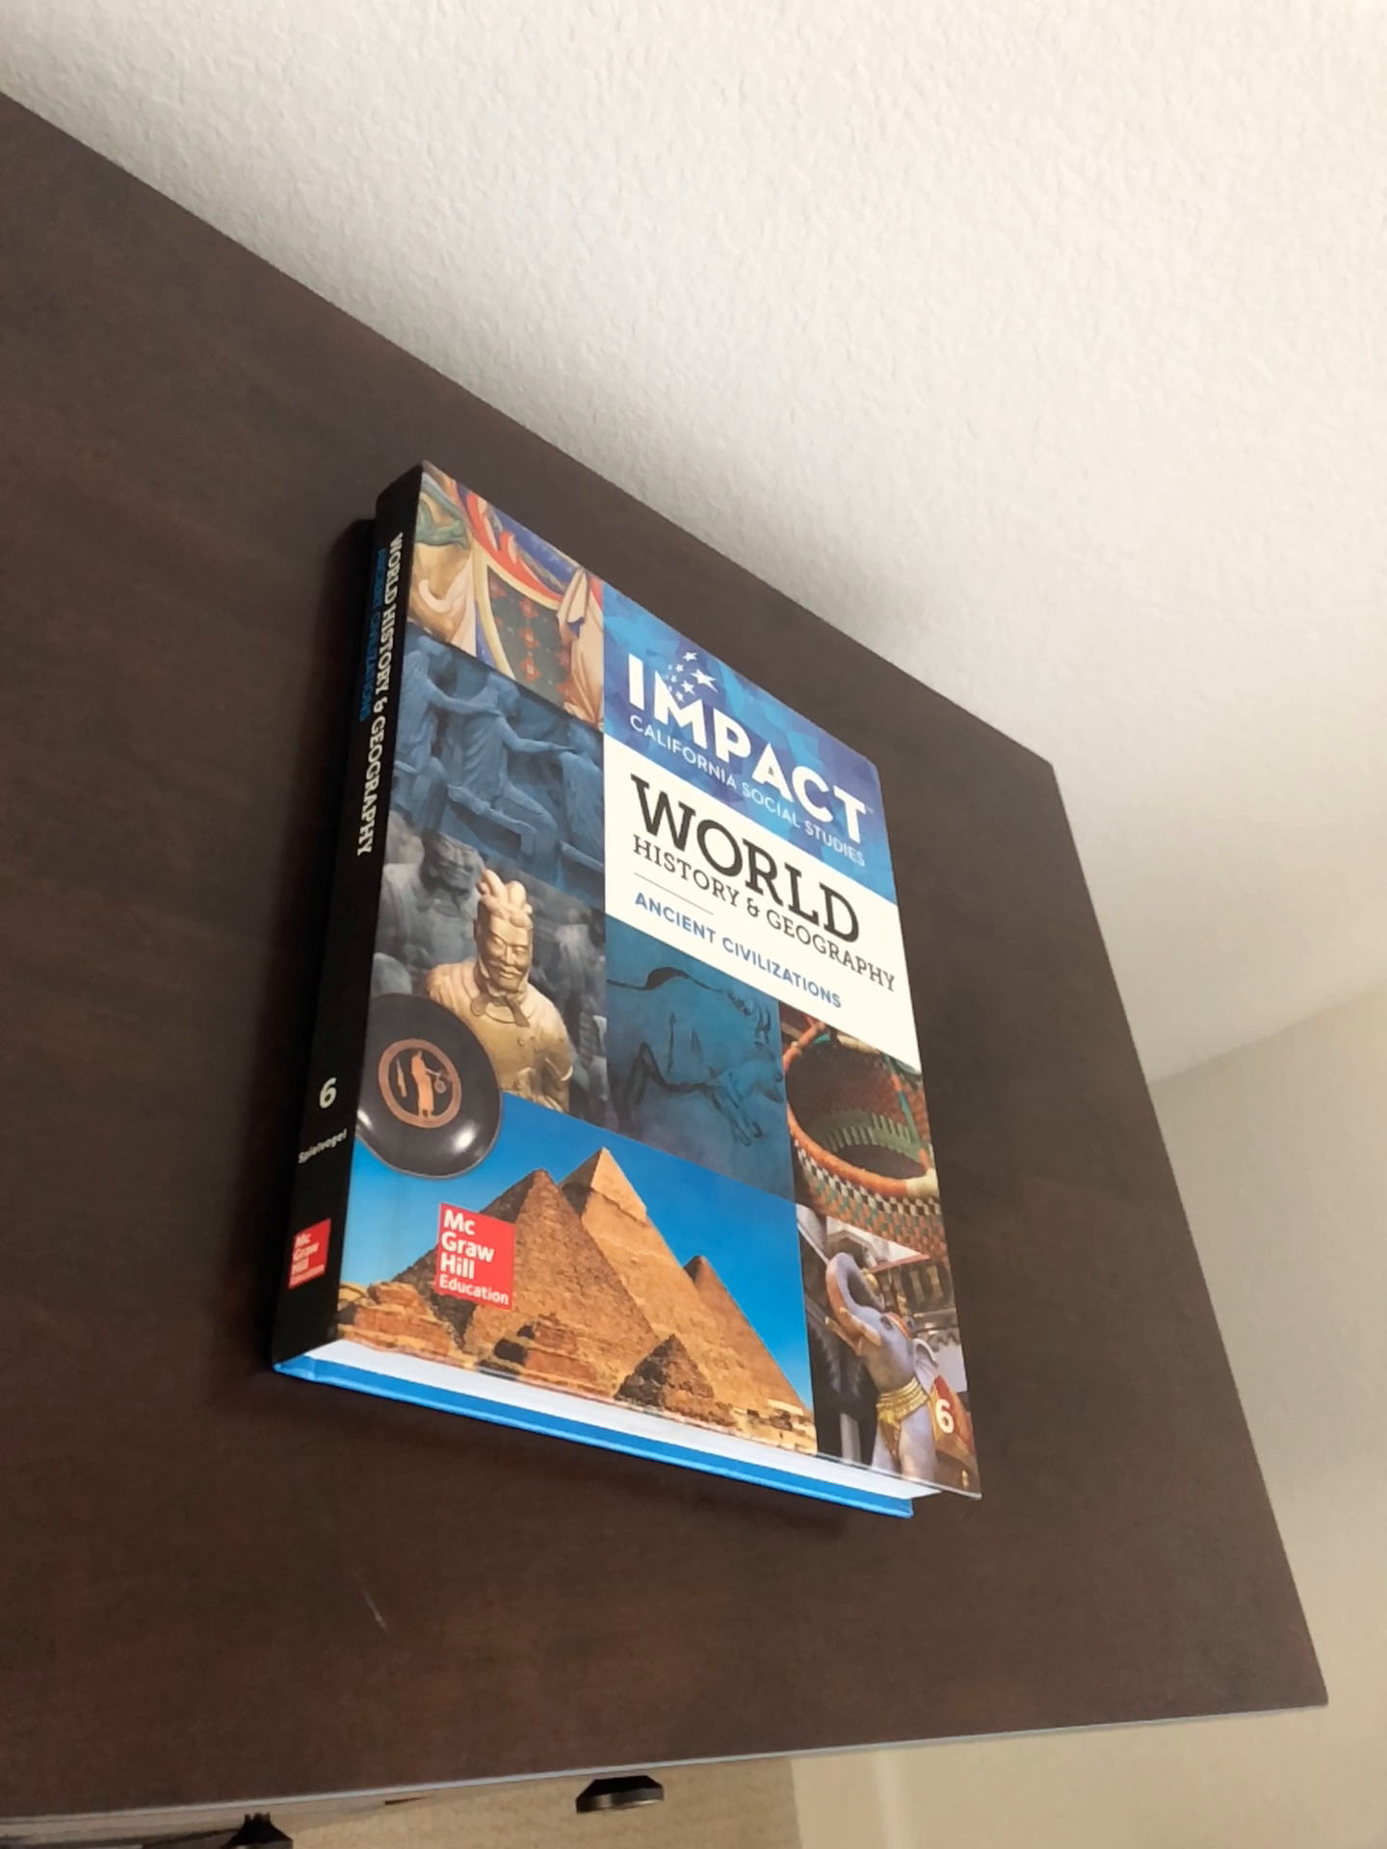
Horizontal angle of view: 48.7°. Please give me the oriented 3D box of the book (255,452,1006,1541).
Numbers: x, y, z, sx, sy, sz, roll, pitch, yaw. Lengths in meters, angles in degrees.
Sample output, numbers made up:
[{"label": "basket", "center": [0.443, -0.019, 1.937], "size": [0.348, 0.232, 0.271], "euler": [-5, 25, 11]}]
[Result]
[{"label": "book", "center": [-0.007, 0.020, 0.467], "size": [0.228, 0.030, 0.285], "euler": [28, 44, -36]}]
